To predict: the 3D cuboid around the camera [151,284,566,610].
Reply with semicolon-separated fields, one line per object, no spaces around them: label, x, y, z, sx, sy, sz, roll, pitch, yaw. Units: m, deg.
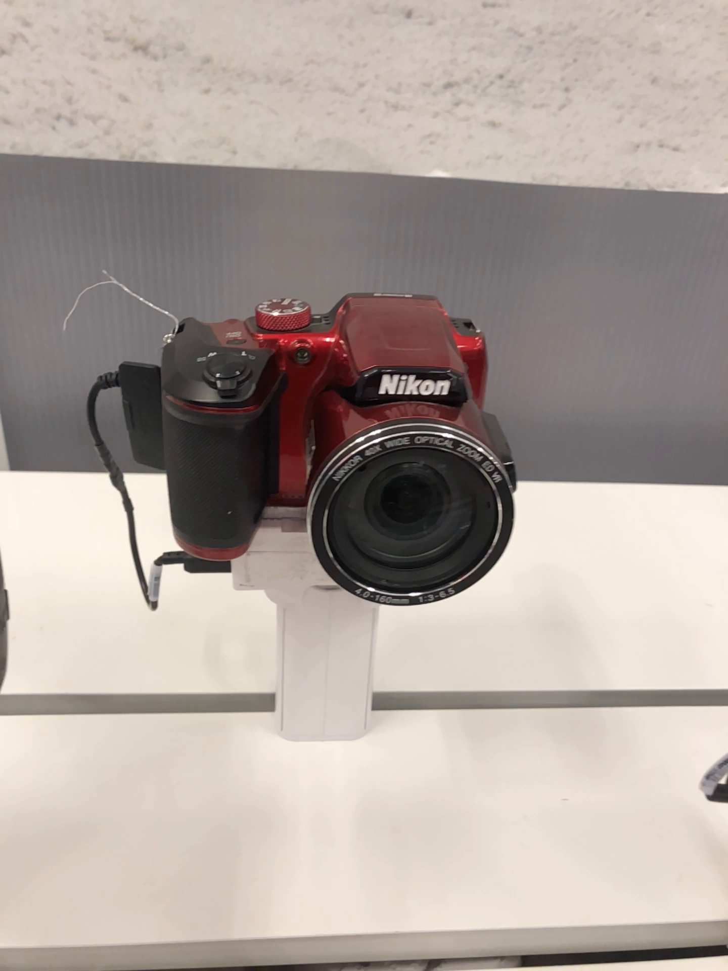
camera;-0.006;-0.015;0.268;0.110;0.073;0.084;1;30;-6
